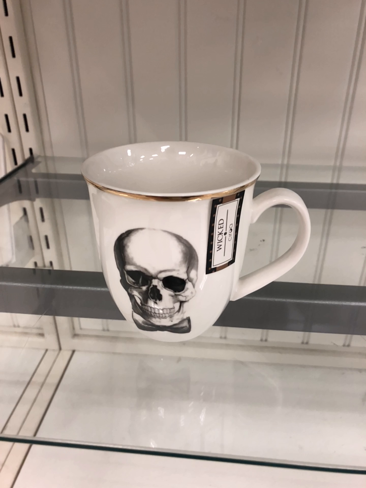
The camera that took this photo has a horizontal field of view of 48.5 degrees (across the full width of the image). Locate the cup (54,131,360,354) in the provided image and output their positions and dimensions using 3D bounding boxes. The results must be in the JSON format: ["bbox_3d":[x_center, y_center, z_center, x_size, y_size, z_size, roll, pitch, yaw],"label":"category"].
[{"bbox_3d":[0.008,-0.008,0.234,0.130,0.088,0.095,-3,28,-5],"label":"cup"}]
